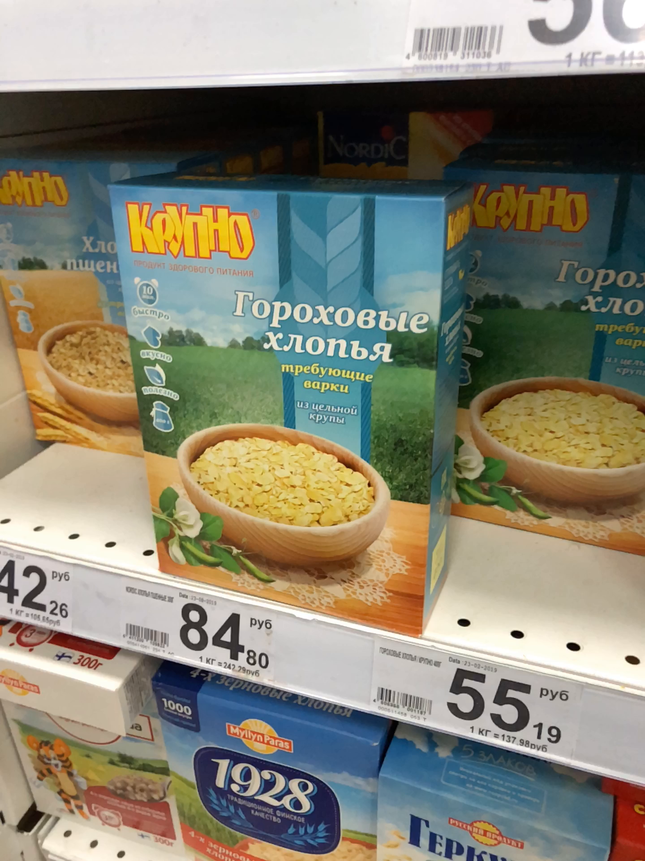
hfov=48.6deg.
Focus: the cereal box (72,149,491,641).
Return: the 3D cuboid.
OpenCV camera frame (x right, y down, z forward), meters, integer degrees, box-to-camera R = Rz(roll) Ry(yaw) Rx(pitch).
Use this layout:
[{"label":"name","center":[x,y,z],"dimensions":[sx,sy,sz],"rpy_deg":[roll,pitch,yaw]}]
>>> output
[{"label":"cereal box","center":[-0.017,-0.019,0.325],"dimensions":[0.160,0.199,0.050],"rpy_deg":[9,26,20]}]
